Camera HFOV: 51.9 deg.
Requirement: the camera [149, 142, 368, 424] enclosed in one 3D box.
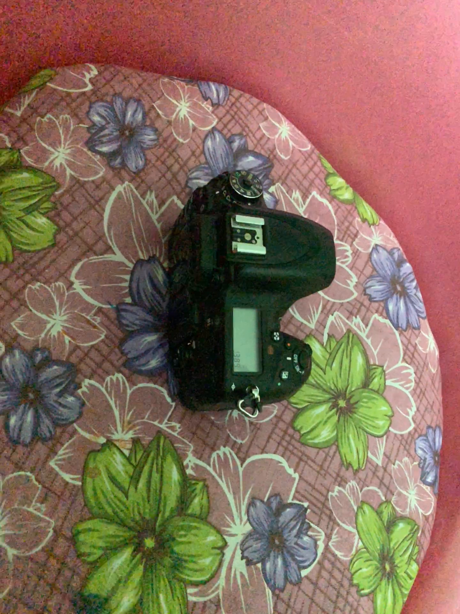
[{"bbox_3d":[0.010,-0.003,0.288,0.093,0.090,0.140,5,76,-29],"label":"camera"}]
